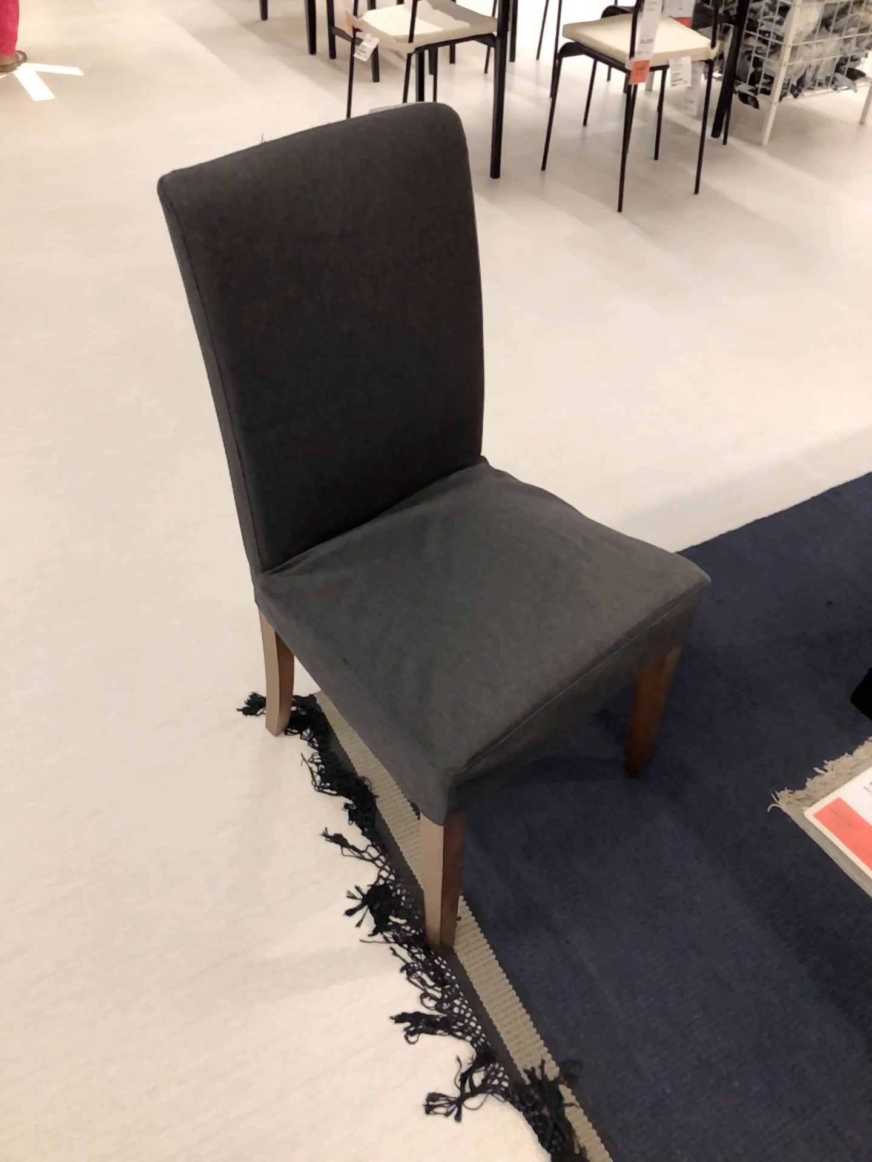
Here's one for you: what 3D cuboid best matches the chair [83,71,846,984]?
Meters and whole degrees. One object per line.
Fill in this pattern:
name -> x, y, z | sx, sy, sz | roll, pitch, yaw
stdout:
chair -> 0.014, -0.049, 1.294 | 0.542, 0.963, 0.552 | -31, 52, -30
